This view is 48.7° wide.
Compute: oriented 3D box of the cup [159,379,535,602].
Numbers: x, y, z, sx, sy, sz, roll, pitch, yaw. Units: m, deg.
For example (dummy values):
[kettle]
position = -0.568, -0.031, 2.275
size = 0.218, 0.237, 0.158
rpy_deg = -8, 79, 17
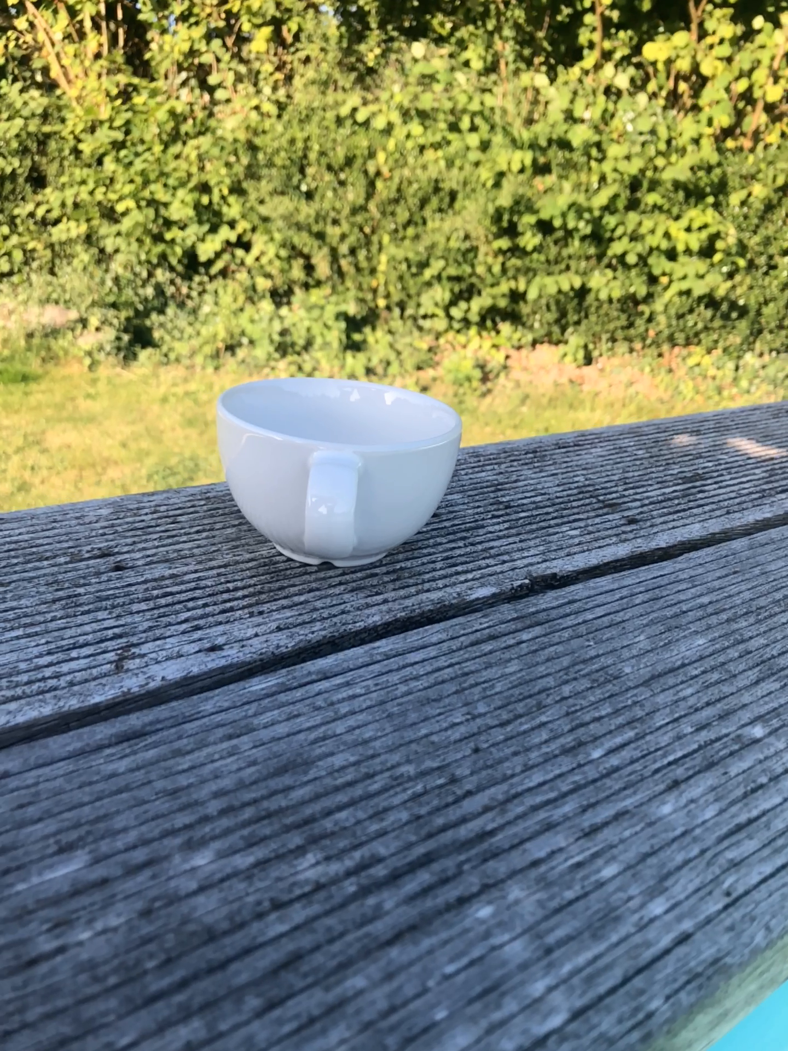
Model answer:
[cup]
position = -0.016, -0.018, 0.304
size = 0.104, 0.038, 0.121
rpy_deg = 3, 19, -4
